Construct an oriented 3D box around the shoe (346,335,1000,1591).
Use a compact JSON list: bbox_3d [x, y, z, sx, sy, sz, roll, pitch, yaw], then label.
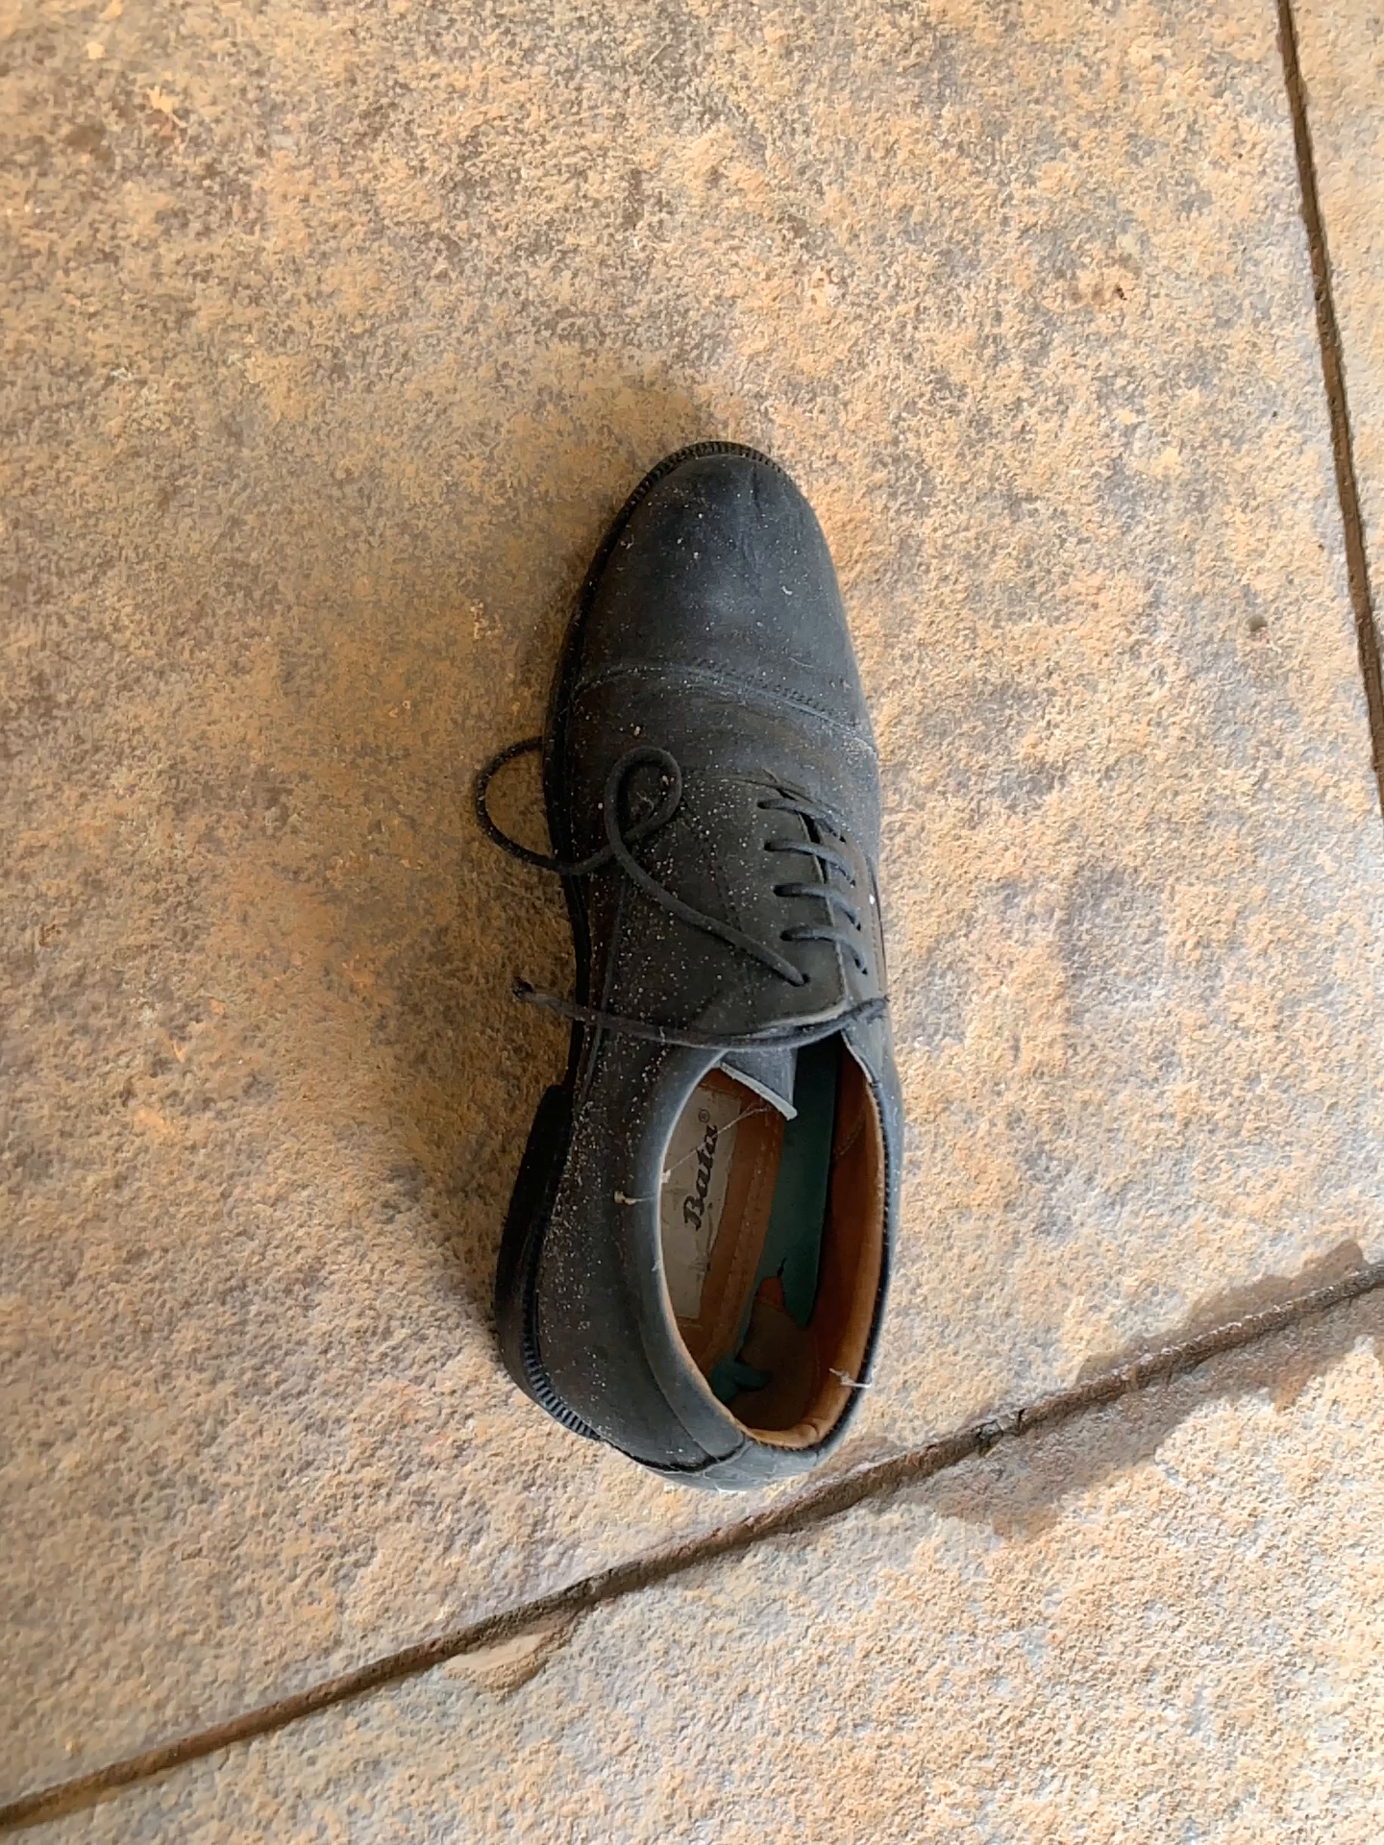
[{"bbox_3d":[-0.005,0.013,0.362,0.100,0.090,0.270,12,82,-26],"label":"shoe"}]
